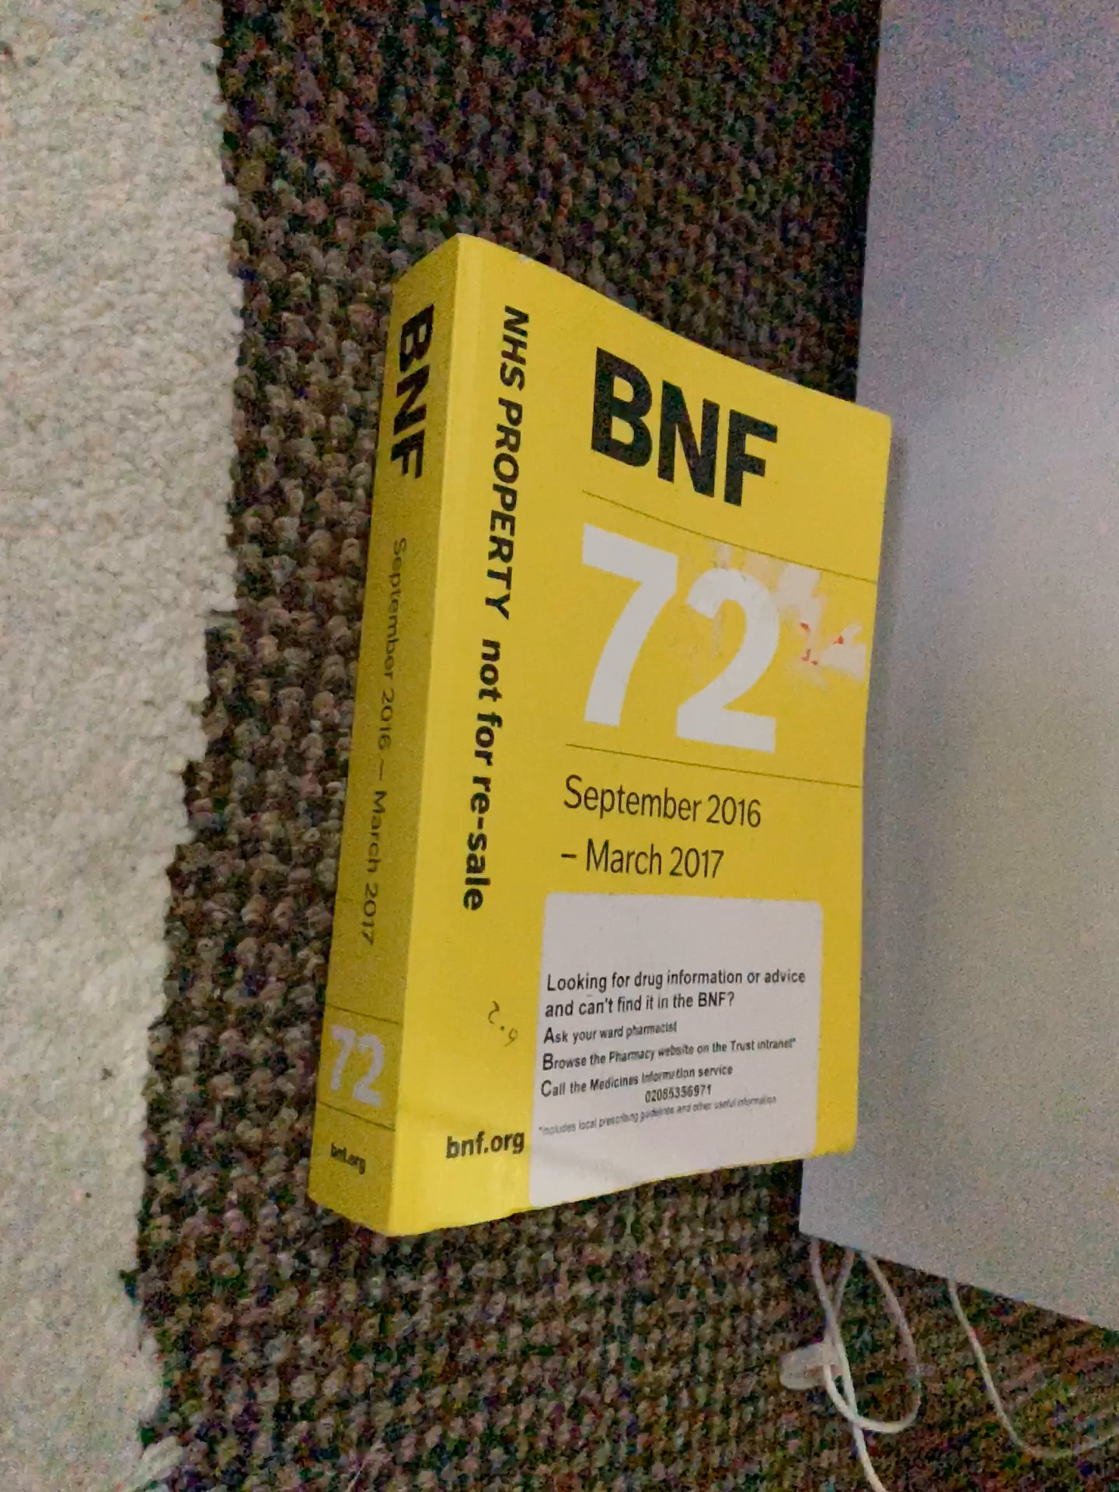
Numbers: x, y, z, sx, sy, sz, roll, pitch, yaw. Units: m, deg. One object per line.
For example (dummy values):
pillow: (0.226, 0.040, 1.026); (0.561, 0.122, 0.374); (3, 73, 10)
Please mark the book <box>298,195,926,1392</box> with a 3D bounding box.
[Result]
book: (0.026, 0.012, 0.286); (0.161, 0.050, 0.220); (8, 83, -45)
